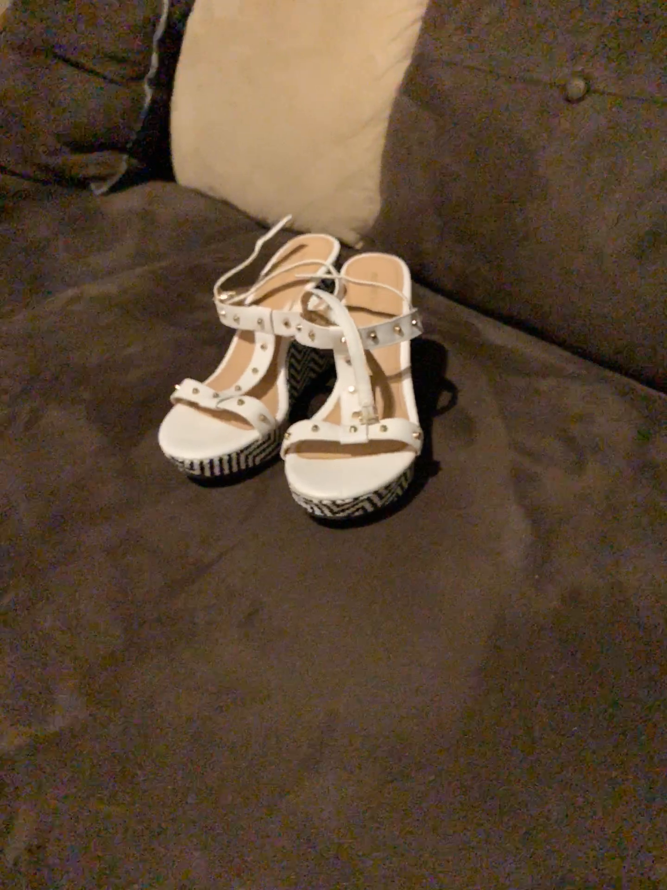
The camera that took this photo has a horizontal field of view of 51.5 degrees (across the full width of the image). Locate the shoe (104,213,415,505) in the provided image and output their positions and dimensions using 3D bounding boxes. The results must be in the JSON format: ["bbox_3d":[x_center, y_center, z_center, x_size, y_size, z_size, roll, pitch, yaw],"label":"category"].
[{"bbox_3d":[-0.044,-0.086,0.568,0.110,0.099,0.261,22,45,22],"label":"shoe"}]

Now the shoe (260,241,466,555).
[{"bbox_3d":[0.032,-0.052,0.526,0.100,0.099,0.251,10,40,9],"label":"shoe"}]
